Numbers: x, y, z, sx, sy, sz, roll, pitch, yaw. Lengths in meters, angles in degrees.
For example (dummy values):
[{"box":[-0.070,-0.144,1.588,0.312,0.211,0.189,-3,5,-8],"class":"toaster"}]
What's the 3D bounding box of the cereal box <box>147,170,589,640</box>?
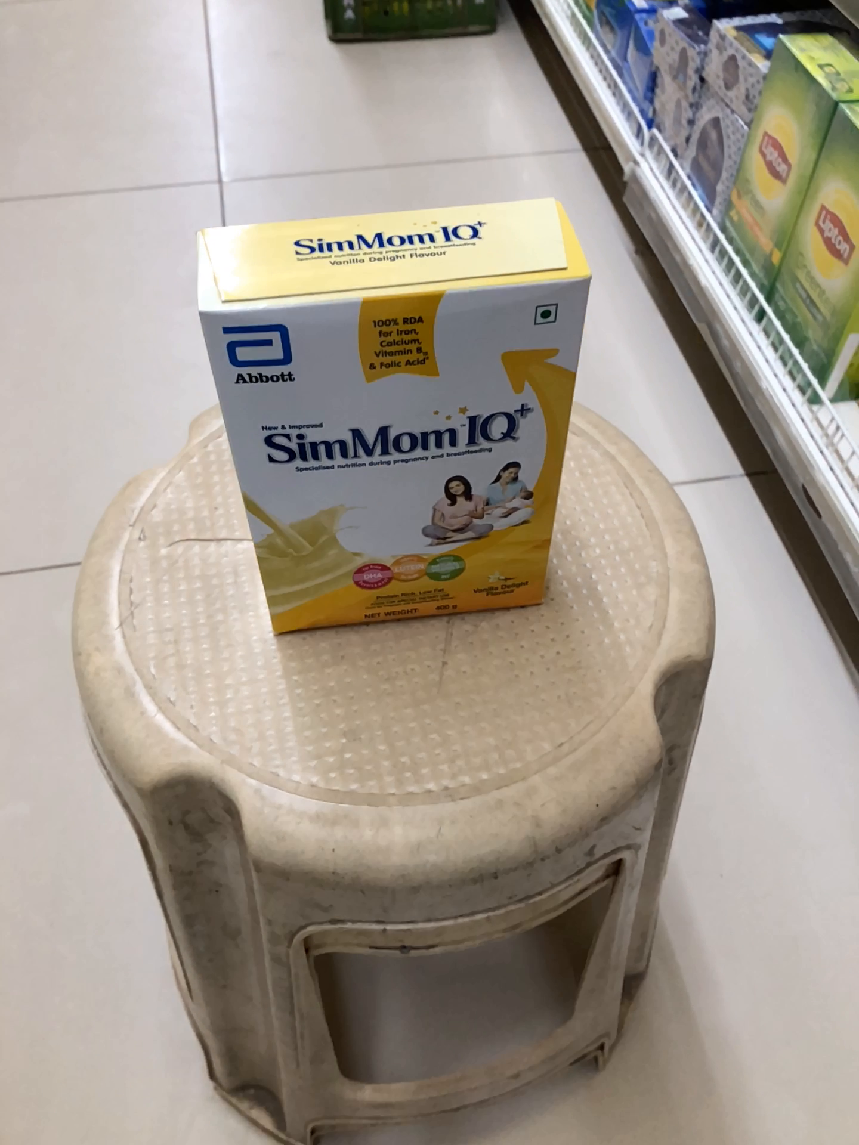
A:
[{"box":[-0.021,-0.055,0.394,0.140,0.199,0.050,-6,53,-4],"class":"cereal box"}]
